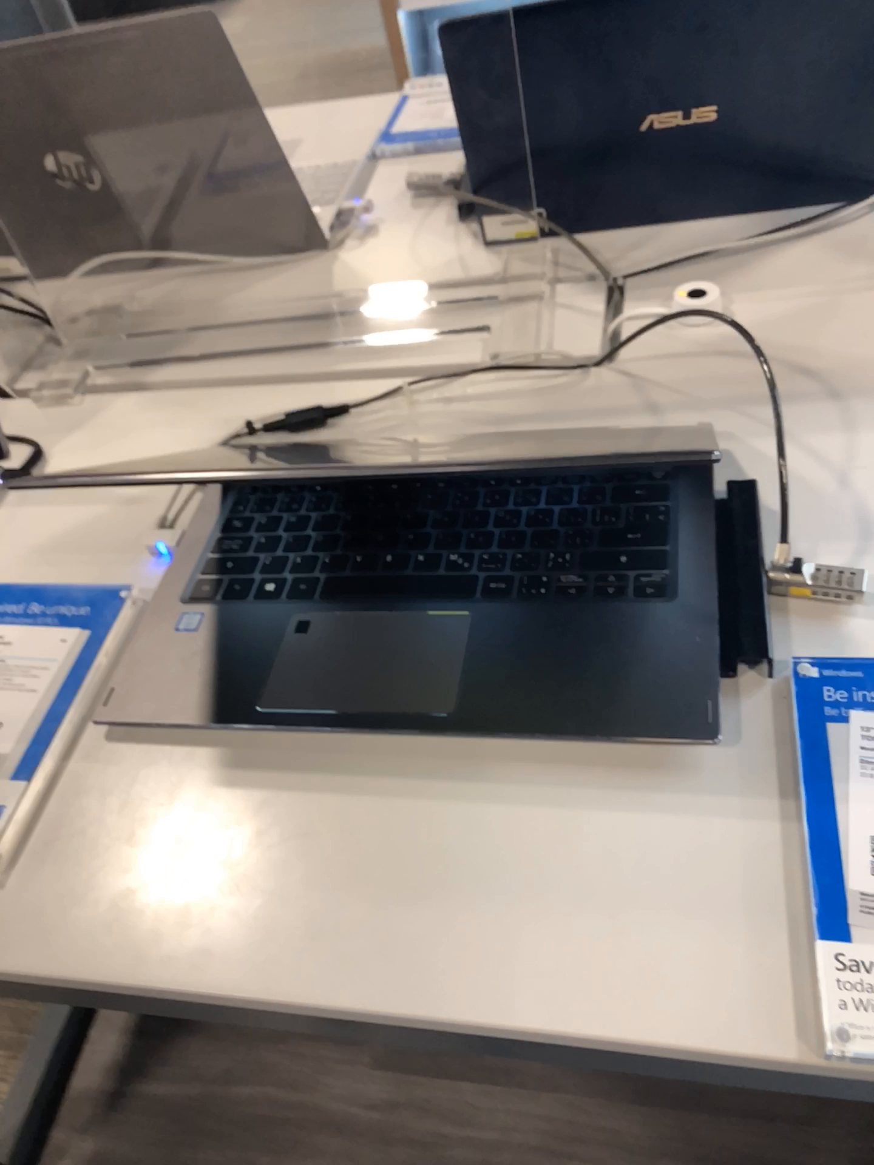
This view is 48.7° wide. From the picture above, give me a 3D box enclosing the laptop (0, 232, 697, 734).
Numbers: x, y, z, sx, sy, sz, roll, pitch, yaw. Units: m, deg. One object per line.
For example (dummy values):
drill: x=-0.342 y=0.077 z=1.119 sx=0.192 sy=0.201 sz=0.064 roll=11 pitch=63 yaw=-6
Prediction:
laptop: x=-0.026 y=-0.051 z=0.486 sx=0.301 sy=0.123 sz=0.212 roll=0 pitch=47 yaw=15
